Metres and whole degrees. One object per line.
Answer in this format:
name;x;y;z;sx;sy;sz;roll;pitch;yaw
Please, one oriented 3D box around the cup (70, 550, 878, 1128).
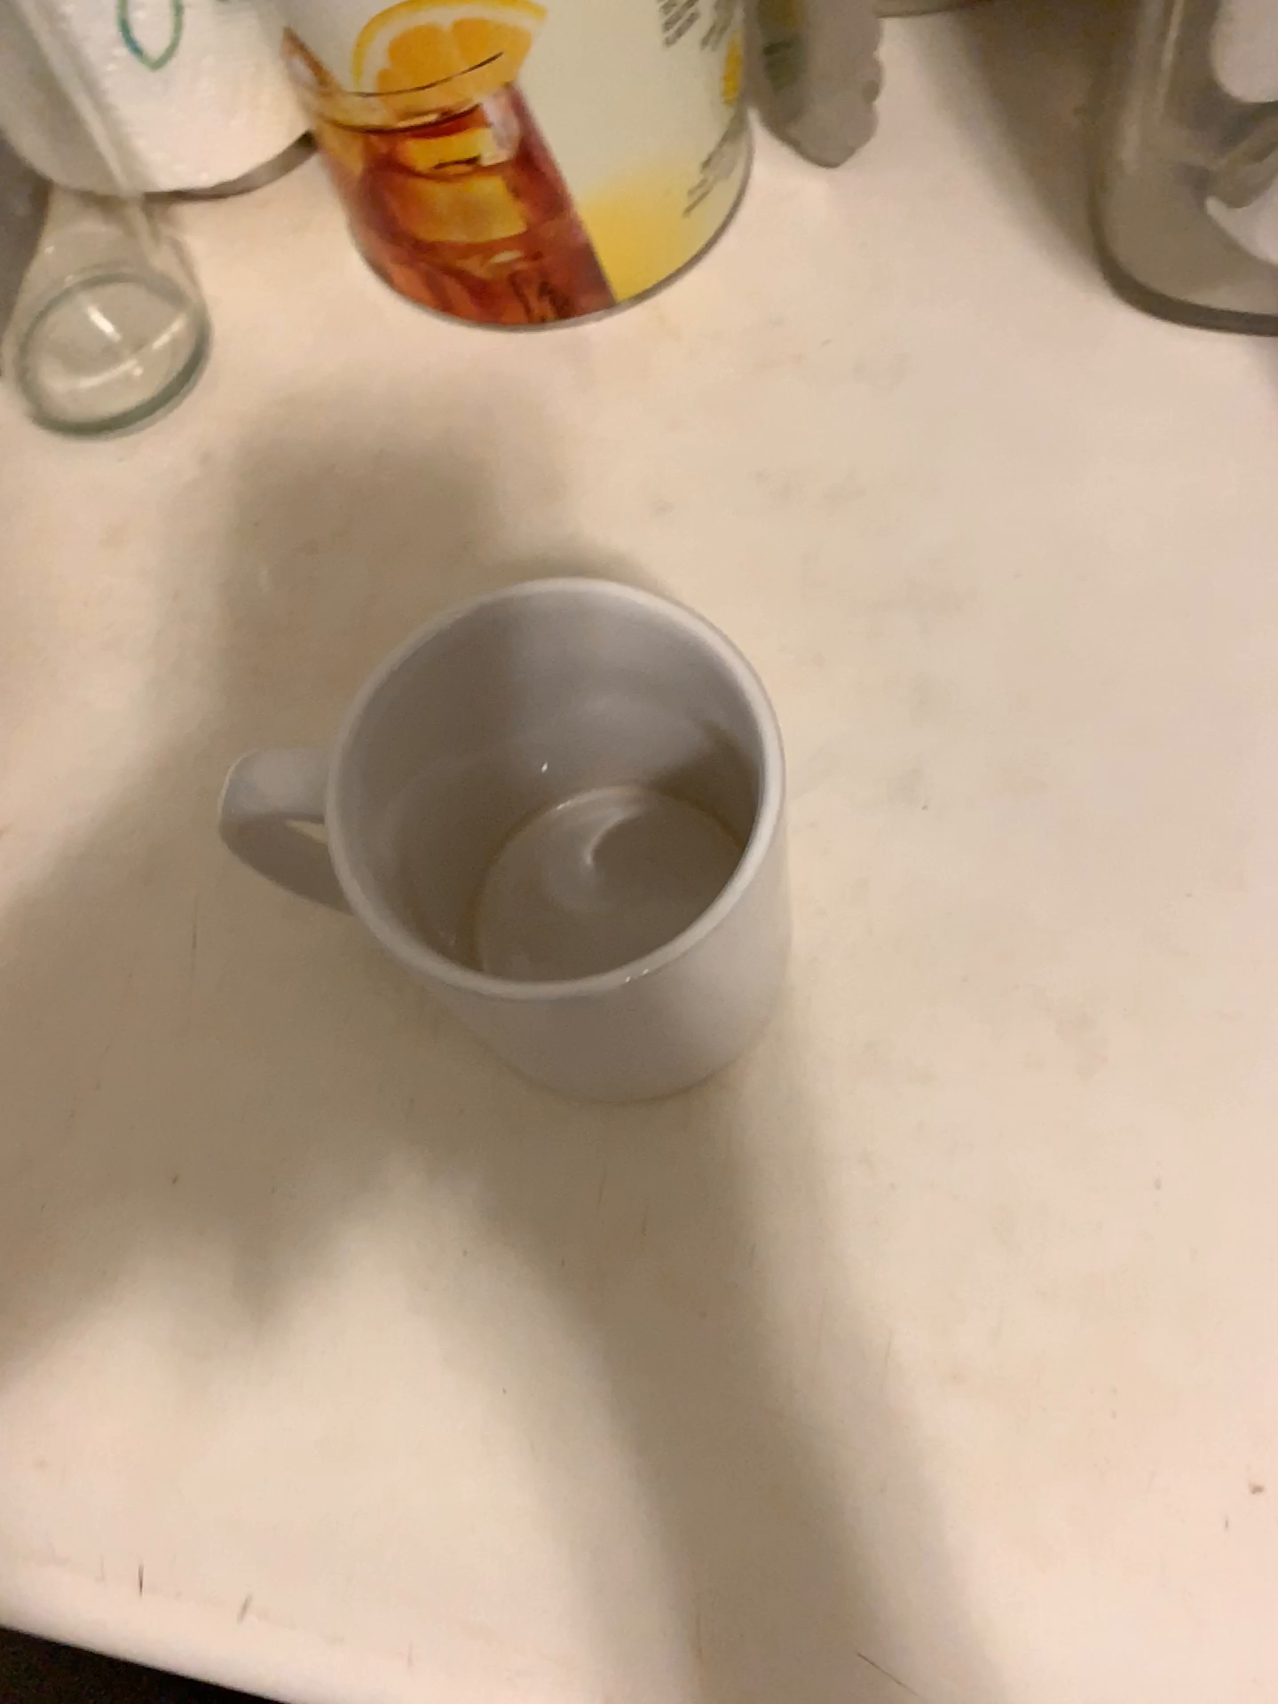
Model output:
cup;-0.022;0.004;0.291;0.140;0.110;0.090;1;70;7
